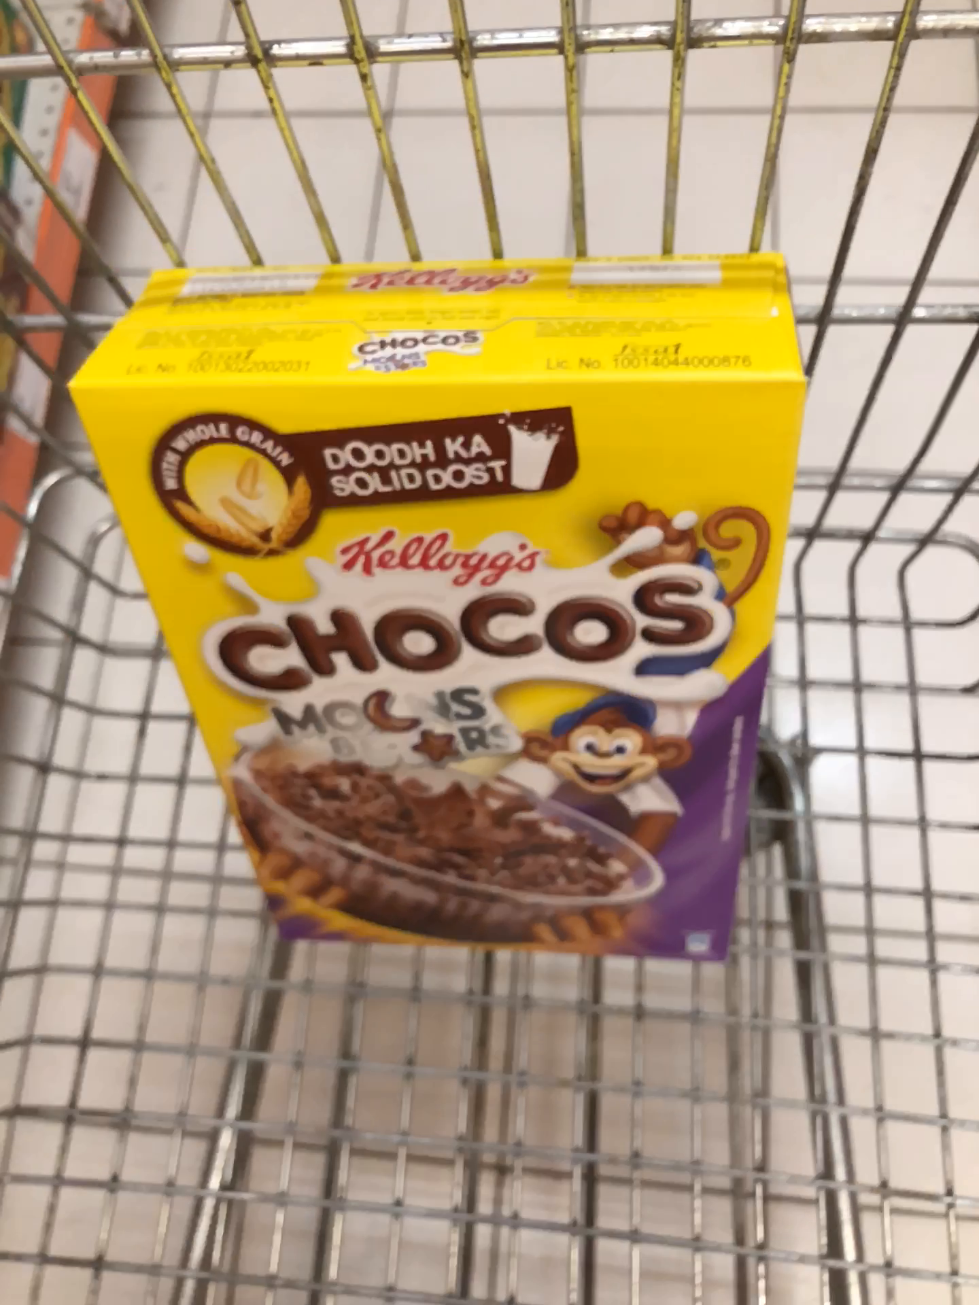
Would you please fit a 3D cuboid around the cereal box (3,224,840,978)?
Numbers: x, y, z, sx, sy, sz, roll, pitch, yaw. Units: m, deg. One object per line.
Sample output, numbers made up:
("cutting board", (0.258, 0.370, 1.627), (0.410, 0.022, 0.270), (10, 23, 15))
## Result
("cereal box", (-0.007, 0.003, 0.356), (0.190, 0.249, 0.070), (0, 43, 6))
